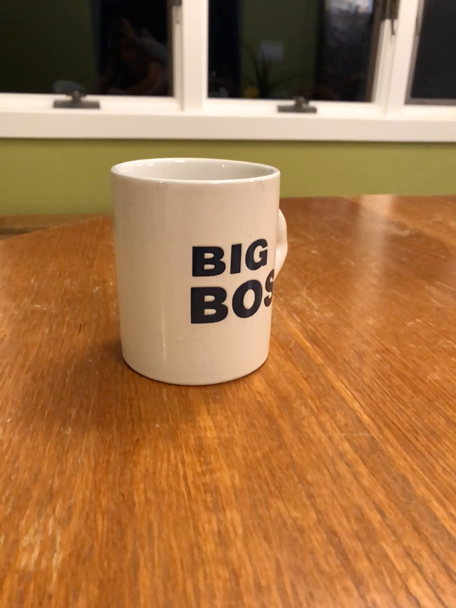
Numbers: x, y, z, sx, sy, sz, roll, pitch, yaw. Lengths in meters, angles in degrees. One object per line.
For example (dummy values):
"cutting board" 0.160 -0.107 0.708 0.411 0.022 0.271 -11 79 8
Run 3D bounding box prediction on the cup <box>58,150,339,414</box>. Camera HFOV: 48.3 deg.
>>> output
"cup" -0.007 -0.028 0.288 0.087 0.099 0.139 13 25 27
